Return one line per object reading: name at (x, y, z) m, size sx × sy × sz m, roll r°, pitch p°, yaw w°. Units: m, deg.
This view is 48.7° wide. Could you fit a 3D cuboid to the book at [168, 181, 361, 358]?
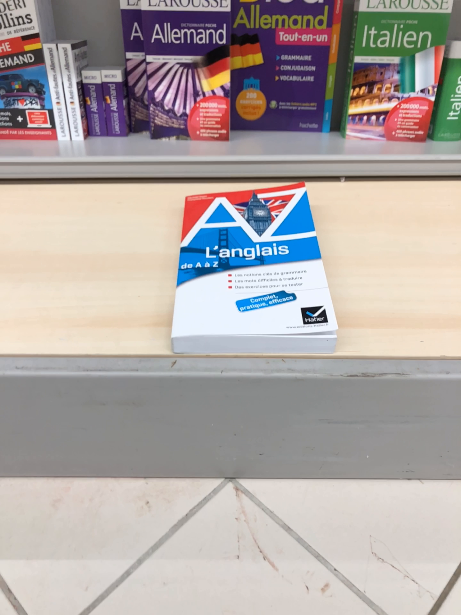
book at (0.024, -0.049, 0.475) m, size 0.143 × 0.030 × 0.236 m, roll 0°, pitch 41°, yaw -1°
